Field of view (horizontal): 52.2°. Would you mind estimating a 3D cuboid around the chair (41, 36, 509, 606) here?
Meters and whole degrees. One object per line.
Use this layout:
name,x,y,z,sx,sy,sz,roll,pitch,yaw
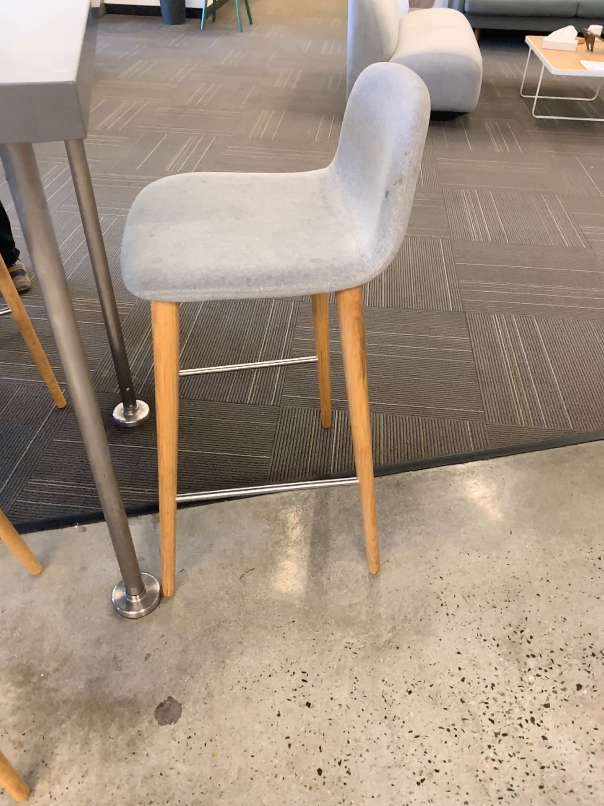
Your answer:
chair,-0.078,-0.148,1.238,0.550,0.924,0.594,-5,41,-8
